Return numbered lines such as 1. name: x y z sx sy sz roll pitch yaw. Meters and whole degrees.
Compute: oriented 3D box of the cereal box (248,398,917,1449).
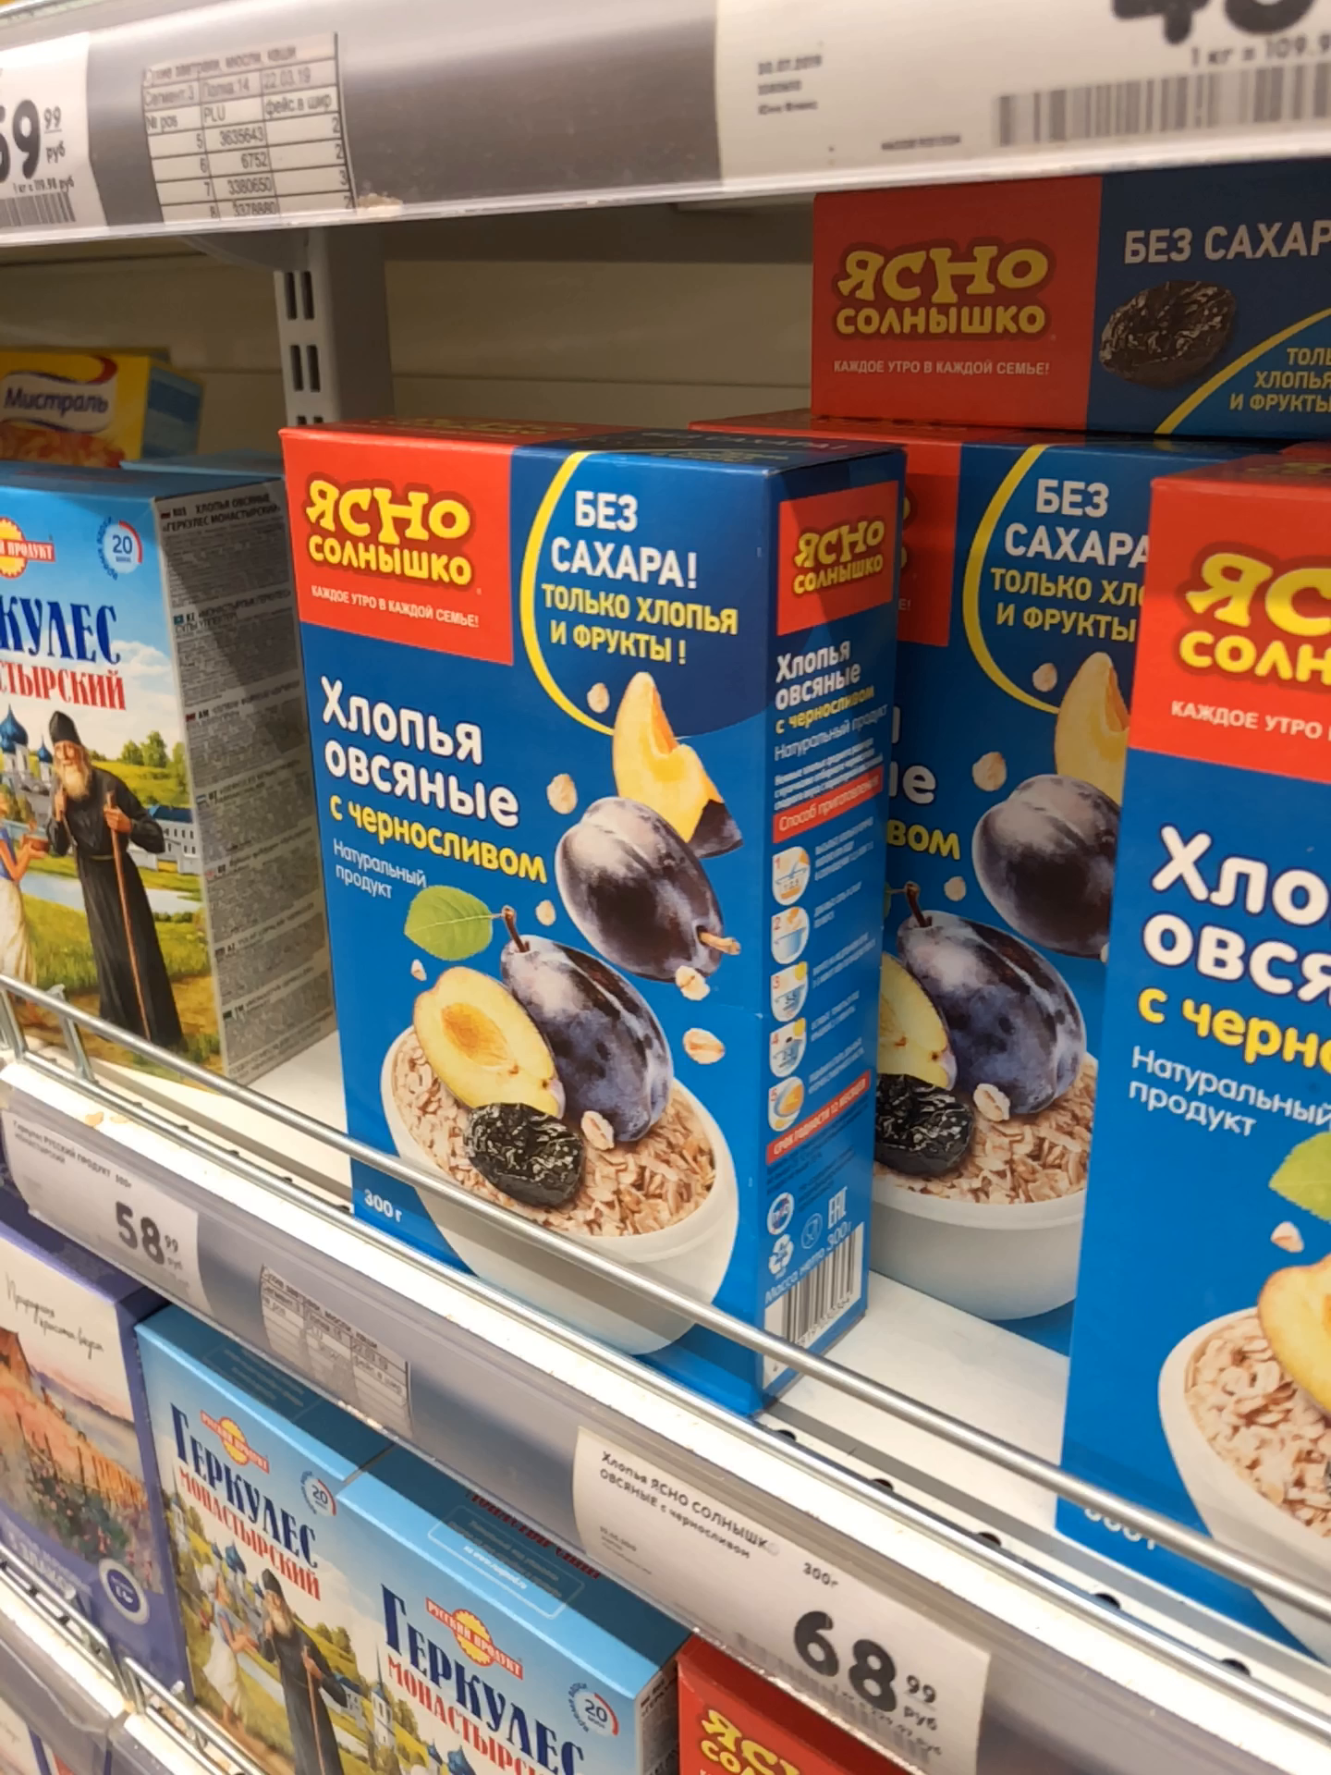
1. cereal box: -0.021 0.000 0.340 0.140 0.209 0.050 15 26 37
